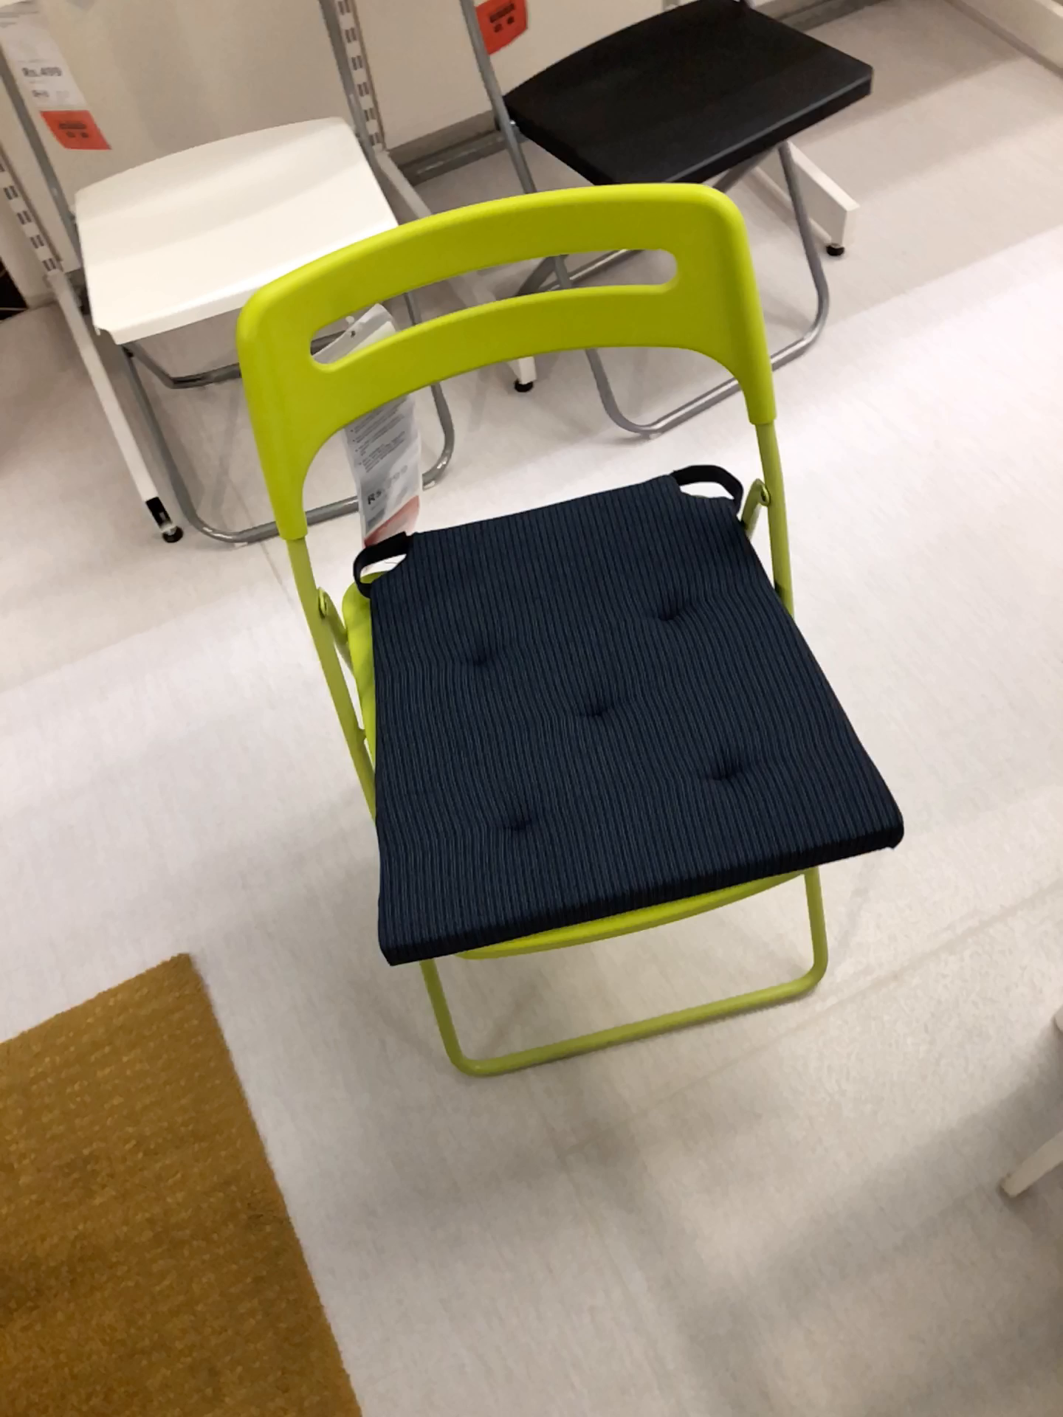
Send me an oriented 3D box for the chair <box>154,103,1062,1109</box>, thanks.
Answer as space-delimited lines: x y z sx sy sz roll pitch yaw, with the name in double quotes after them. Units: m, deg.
0.051 -0.028 0.990 0.490 0.637 0.462 -14 58 -2 "chair"
